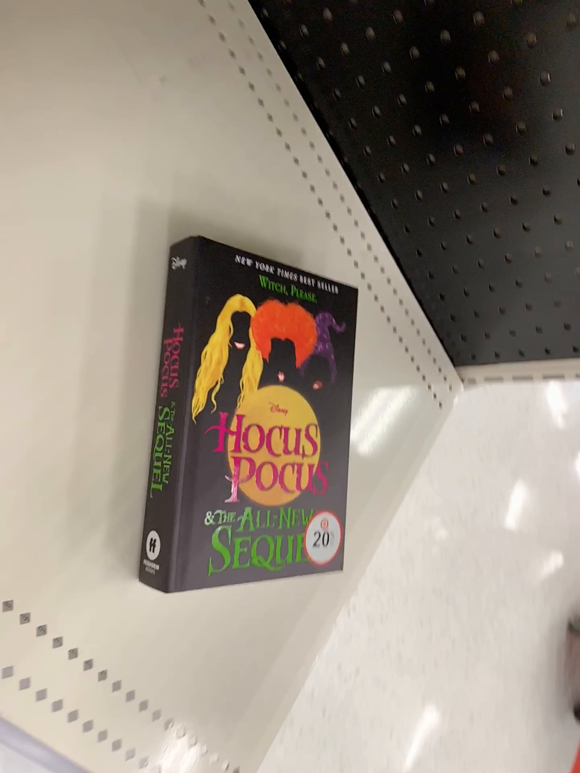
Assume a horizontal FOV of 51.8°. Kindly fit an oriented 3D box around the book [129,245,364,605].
[{"bbox_3d":[-0.022,0.028,0.415,0.149,0.050,0.209,8,83,-41],"label":"book"}]
